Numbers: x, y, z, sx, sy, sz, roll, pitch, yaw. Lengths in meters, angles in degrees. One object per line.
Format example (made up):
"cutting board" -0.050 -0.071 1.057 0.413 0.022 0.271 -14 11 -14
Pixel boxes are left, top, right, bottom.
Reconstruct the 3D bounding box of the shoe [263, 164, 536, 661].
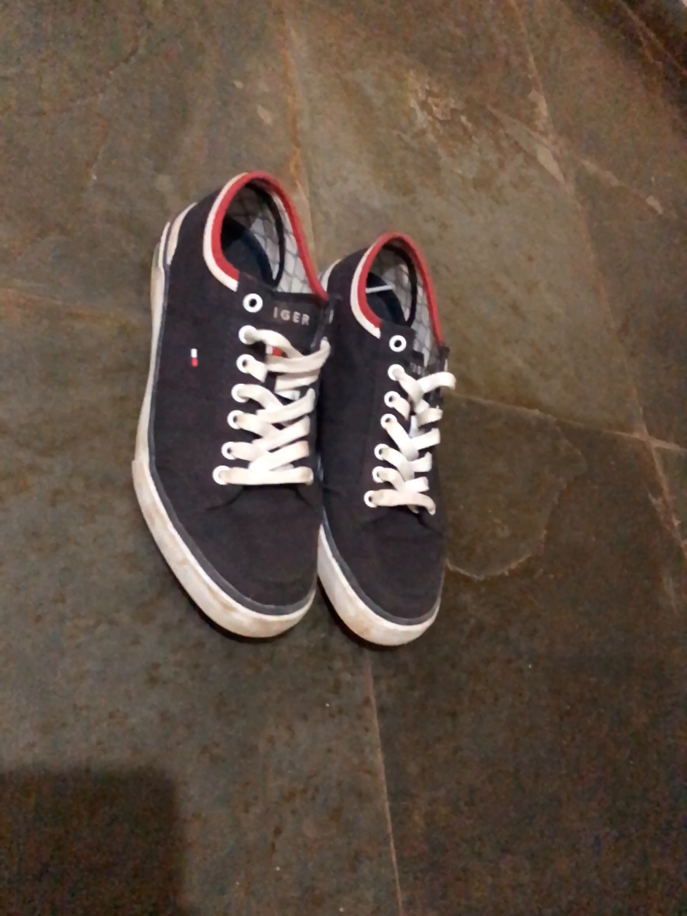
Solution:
"shoe" 0.025 -0.029 0.502 0.110 0.099 0.301 13 60 -34

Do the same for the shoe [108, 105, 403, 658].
"shoe" -0.063 -0.042 0.443 0.110 0.099 0.291 9 62 -36
